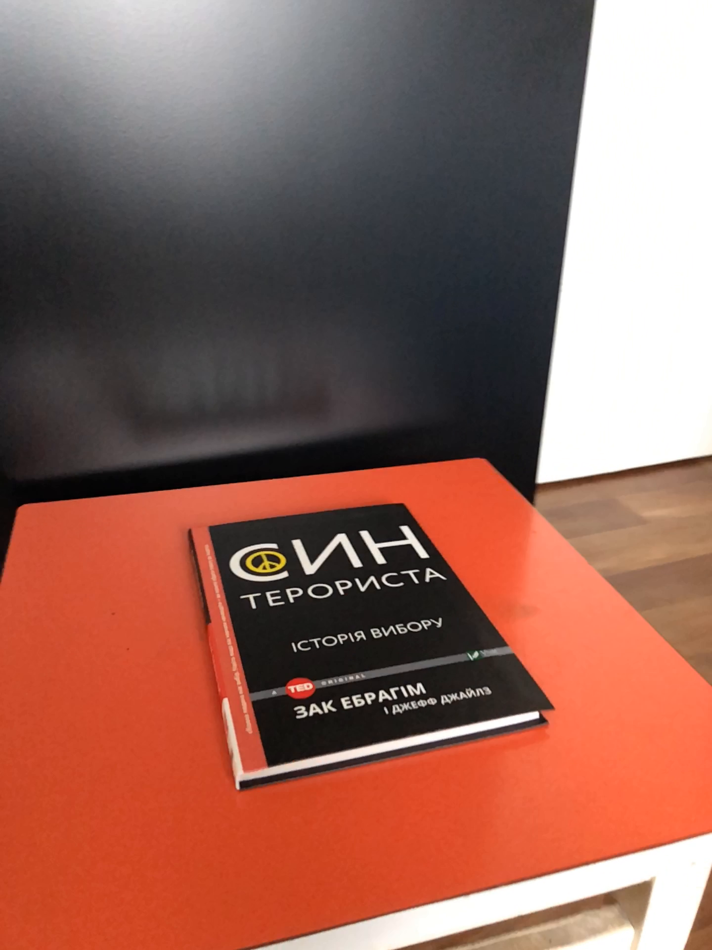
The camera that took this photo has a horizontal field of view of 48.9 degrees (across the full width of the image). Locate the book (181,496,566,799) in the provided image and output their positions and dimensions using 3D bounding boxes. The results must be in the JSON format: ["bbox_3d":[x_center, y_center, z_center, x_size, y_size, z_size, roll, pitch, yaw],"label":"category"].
[{"bbox_3d":[-0.008,0.072,0.418,0.150,0.013,0.206,-6,27,-15],"label":"book"}]
